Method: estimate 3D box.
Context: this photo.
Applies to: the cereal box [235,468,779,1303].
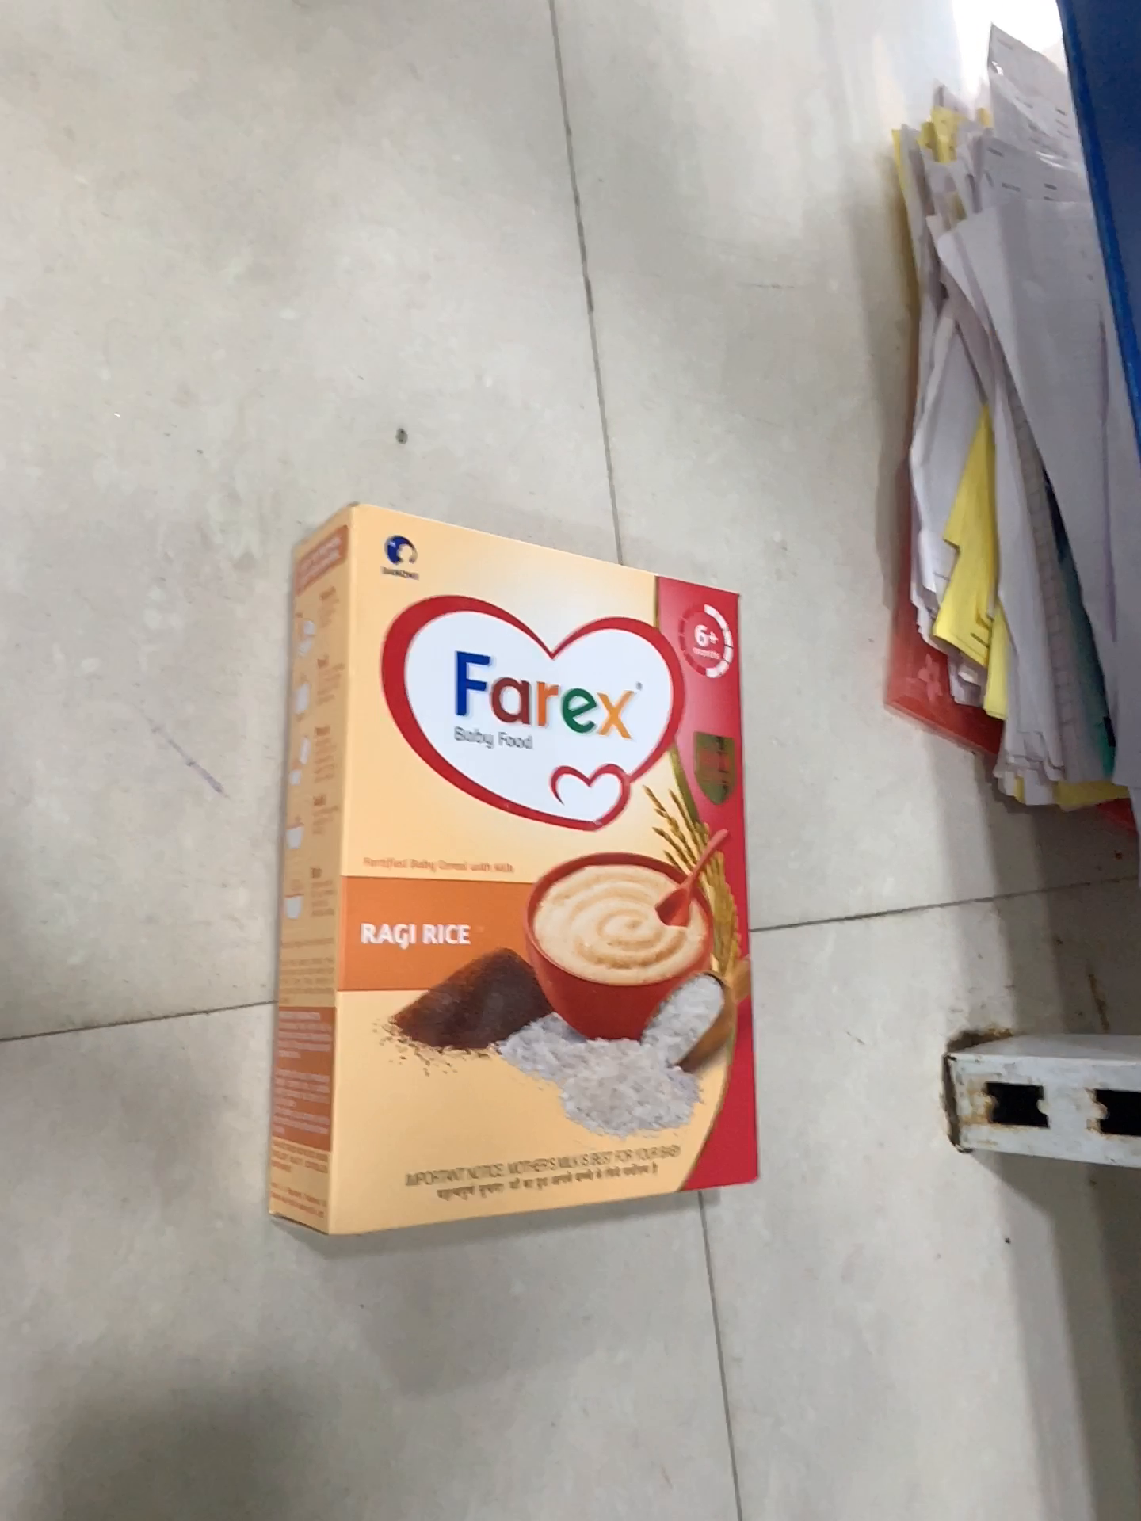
[{"bbox_3d":[-0.009,0.037,0.345,0.151,0.050,0.200,10,76,-37],"label":"cereal box"}]
